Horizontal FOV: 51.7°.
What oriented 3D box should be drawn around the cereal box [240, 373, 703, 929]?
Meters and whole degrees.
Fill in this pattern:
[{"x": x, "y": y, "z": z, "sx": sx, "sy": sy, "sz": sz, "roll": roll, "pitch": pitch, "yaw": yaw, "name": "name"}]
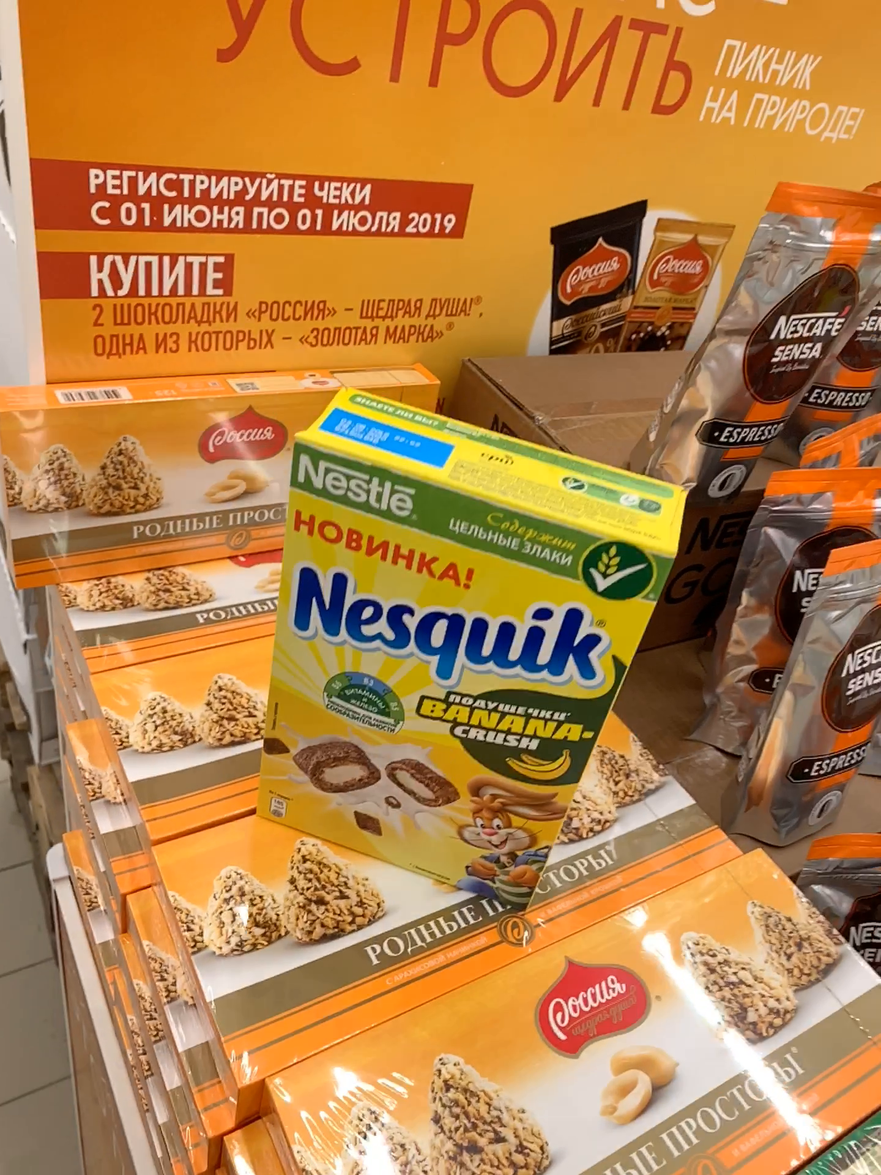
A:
[{"x": 0.000, "y": 0.040, "z": 0.412, "sx": 0.160, "sy": 0.229, "sz": 0.050, "roll": 18, "pitch": 36, "yaw": 7, "name": "cereal box"}]
